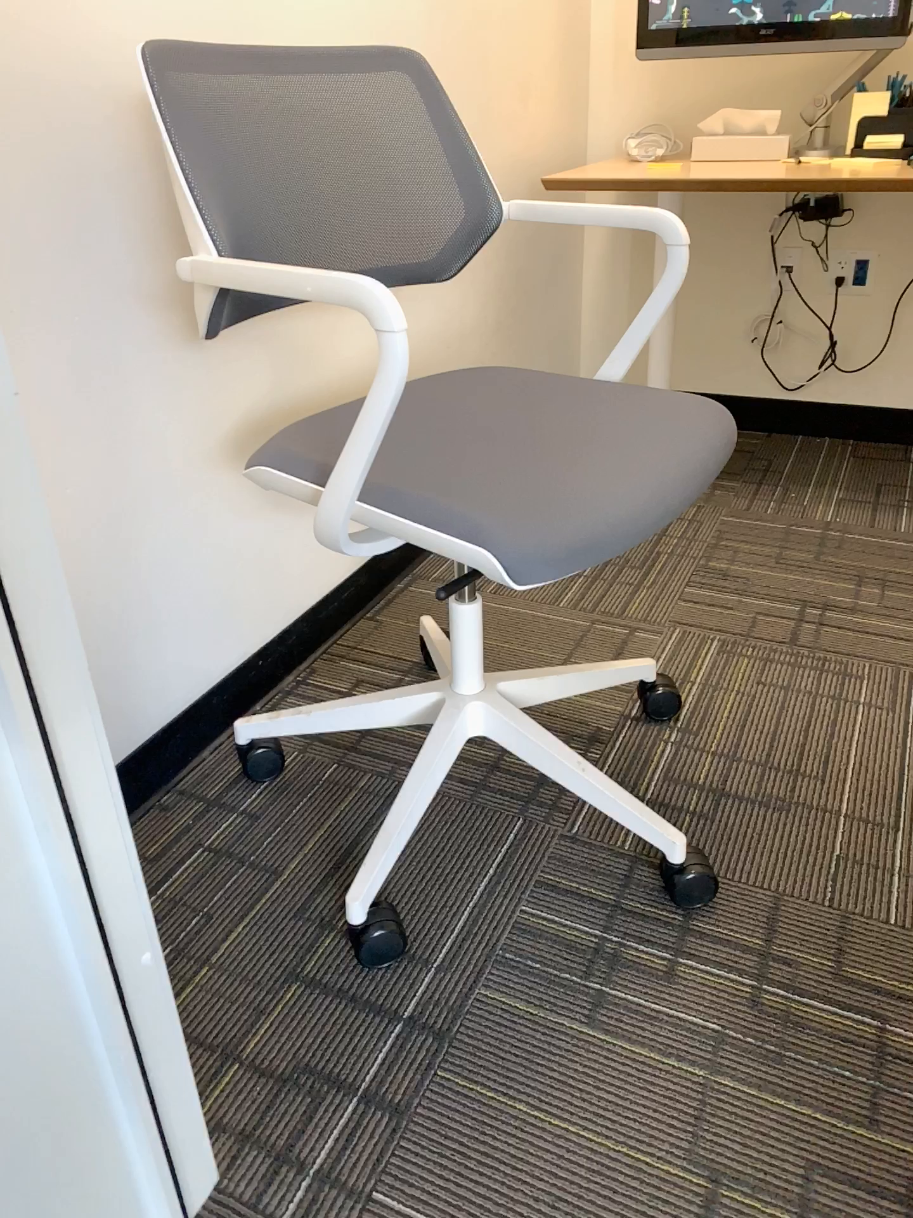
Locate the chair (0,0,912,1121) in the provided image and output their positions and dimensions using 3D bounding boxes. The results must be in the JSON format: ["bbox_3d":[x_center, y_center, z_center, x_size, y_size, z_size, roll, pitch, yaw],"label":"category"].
[{"bbox_3d":[0.014,-0.183,1.141,0.802,0.914,0.803,14,33,27],"label":"chair"}]
